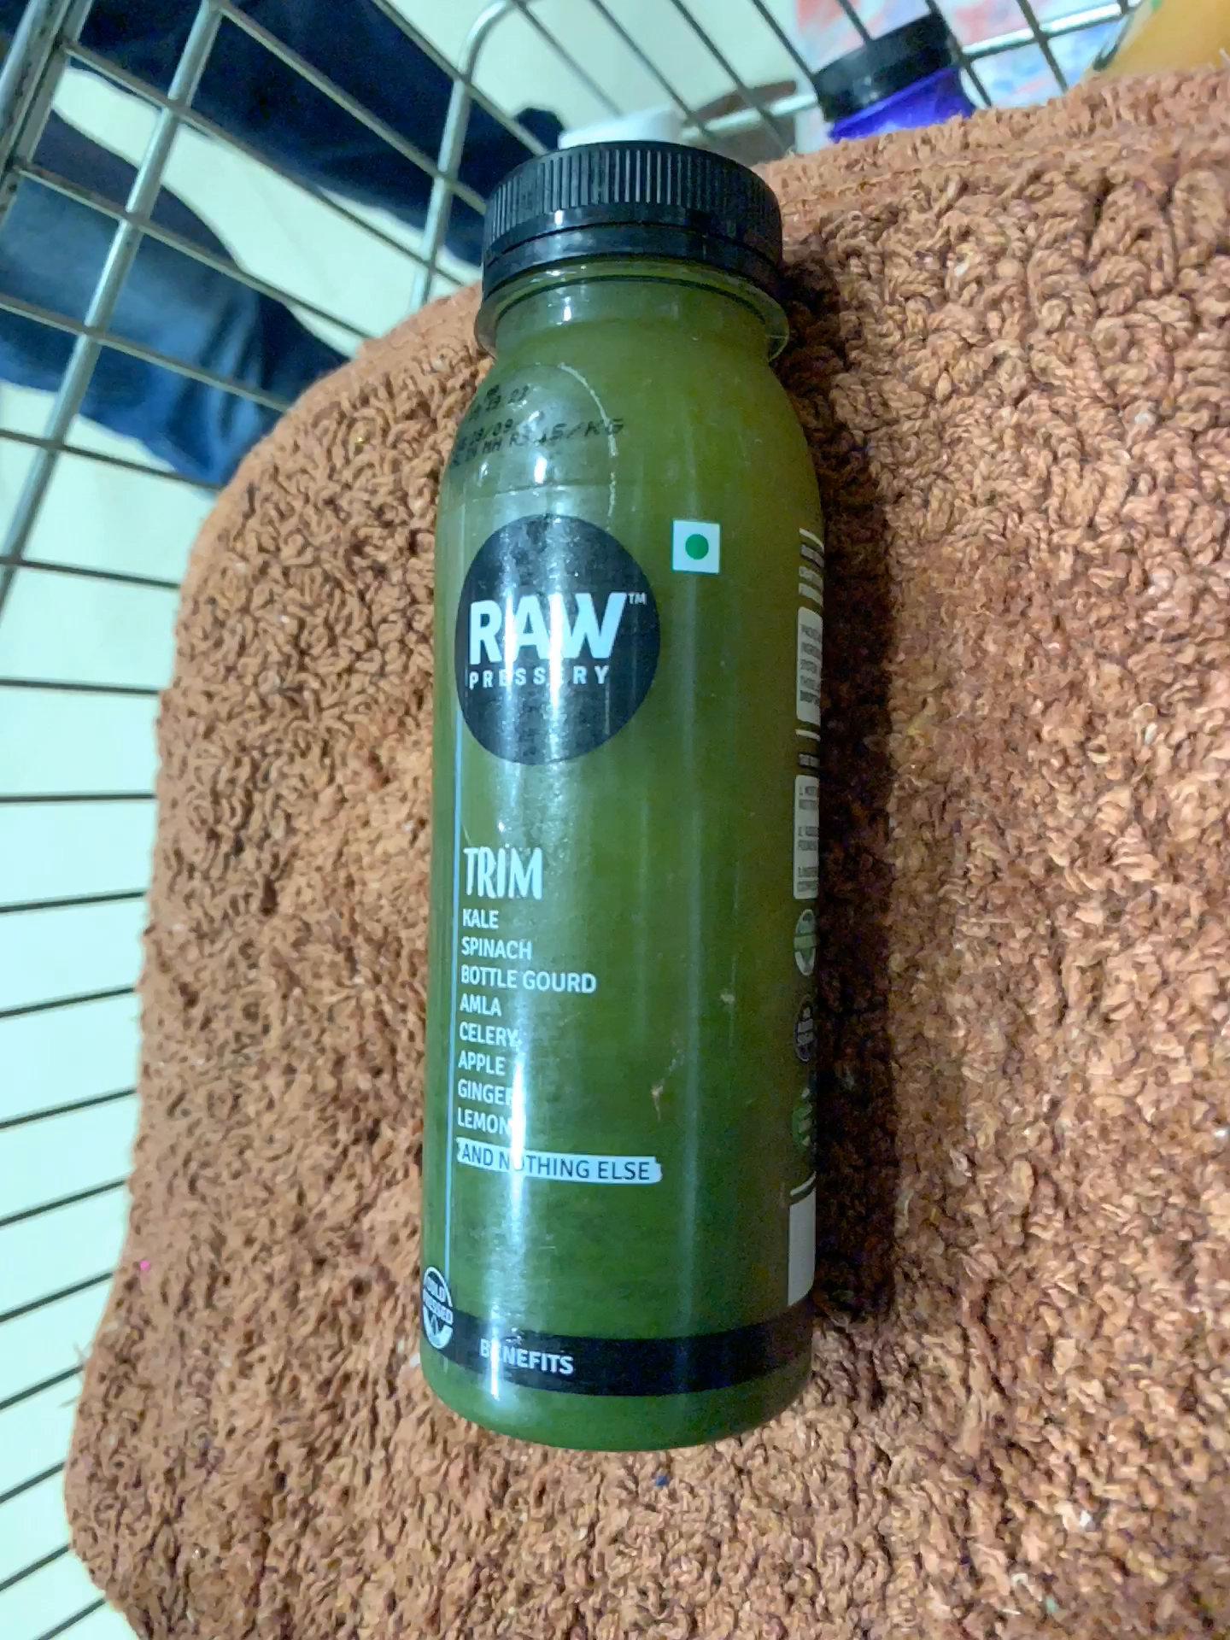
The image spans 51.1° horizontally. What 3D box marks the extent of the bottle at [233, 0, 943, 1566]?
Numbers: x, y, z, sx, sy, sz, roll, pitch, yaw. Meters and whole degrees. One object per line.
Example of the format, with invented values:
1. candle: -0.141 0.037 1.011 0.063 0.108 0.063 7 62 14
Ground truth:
1. bottle: 0.000 -0.006 0.157 0.060 0.050 0.150 3 87 27

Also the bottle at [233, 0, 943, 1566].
1. bottle: 0.000 -0.006 0.157 0.060 0.050 0.150 3 87 27
